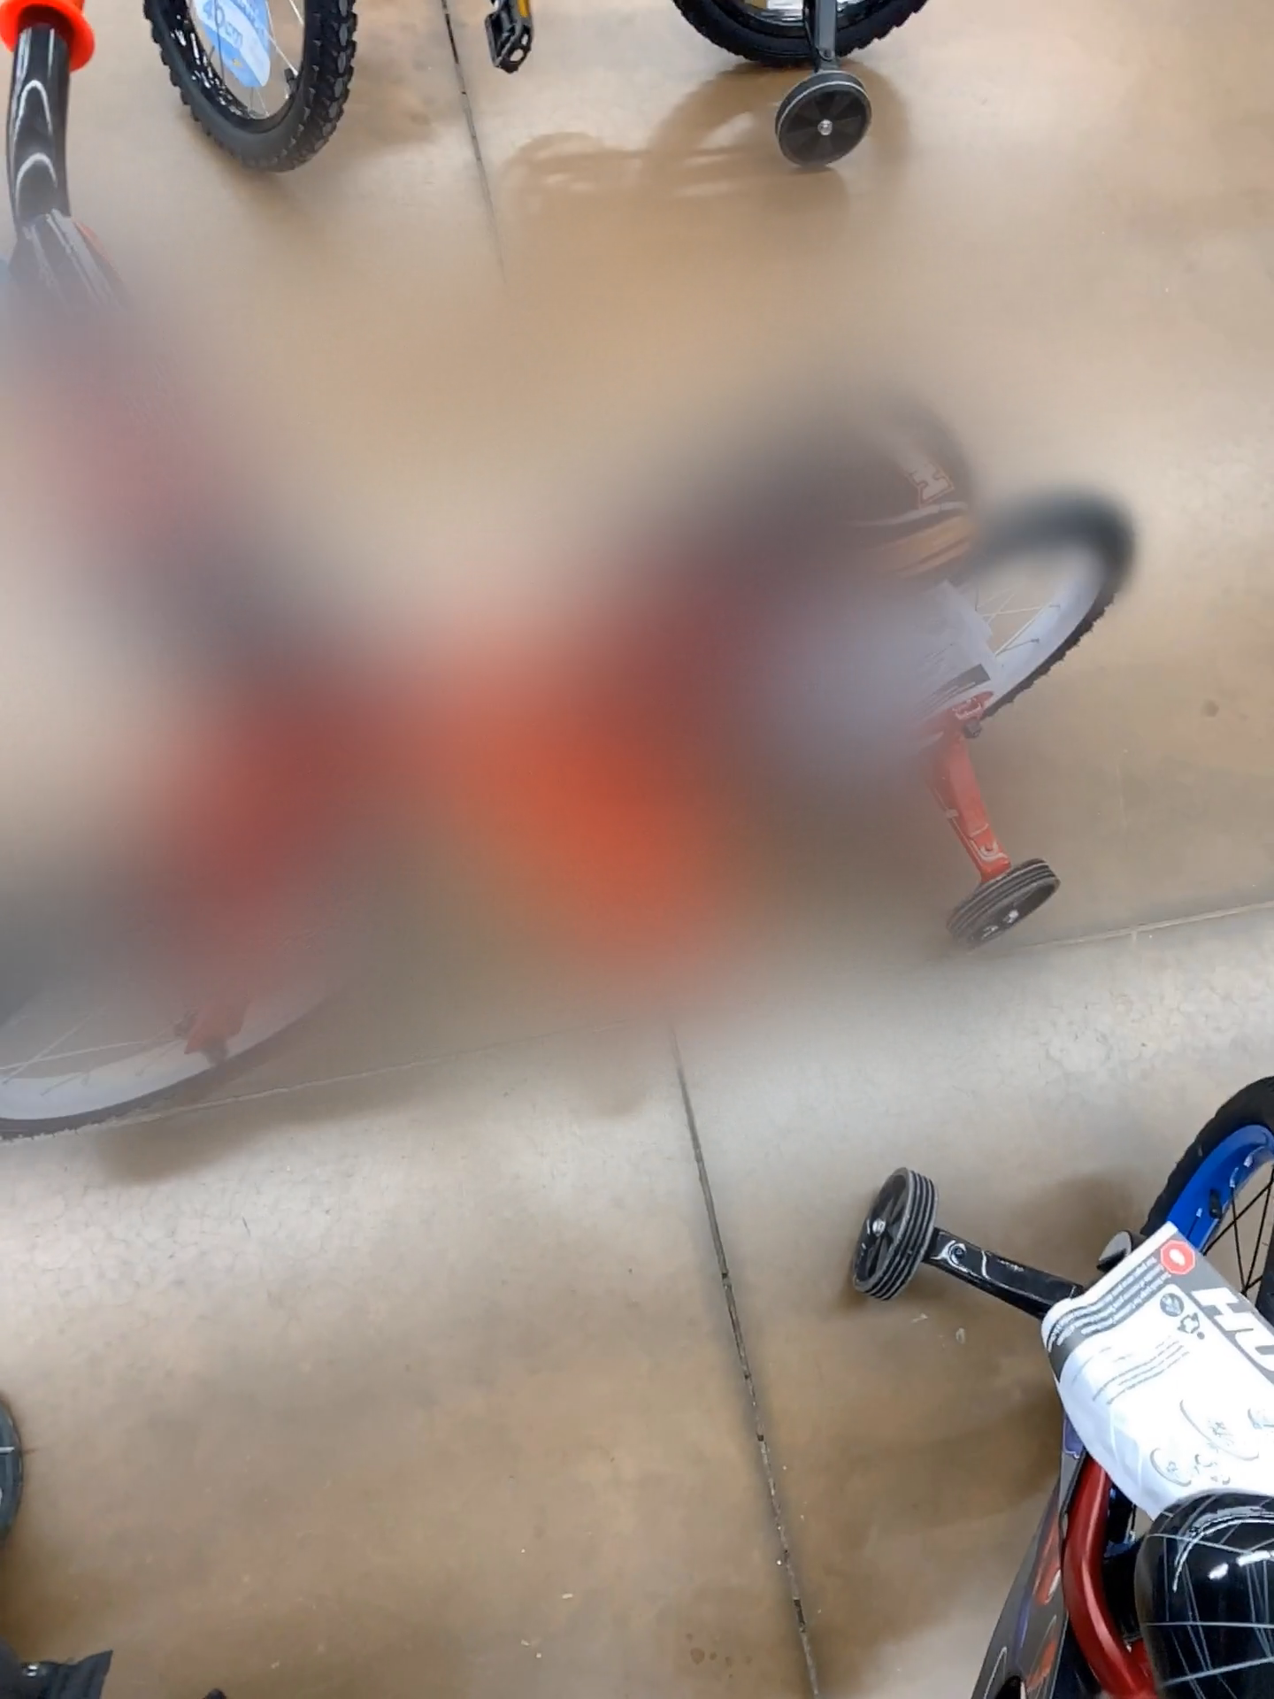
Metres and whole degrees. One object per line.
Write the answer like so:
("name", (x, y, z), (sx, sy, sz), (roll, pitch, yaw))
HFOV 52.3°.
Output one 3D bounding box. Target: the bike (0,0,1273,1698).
("bike", (0.001, -0.090, 0.883), (1.069, 0.852, 0.586), (-24, 71, -15))
